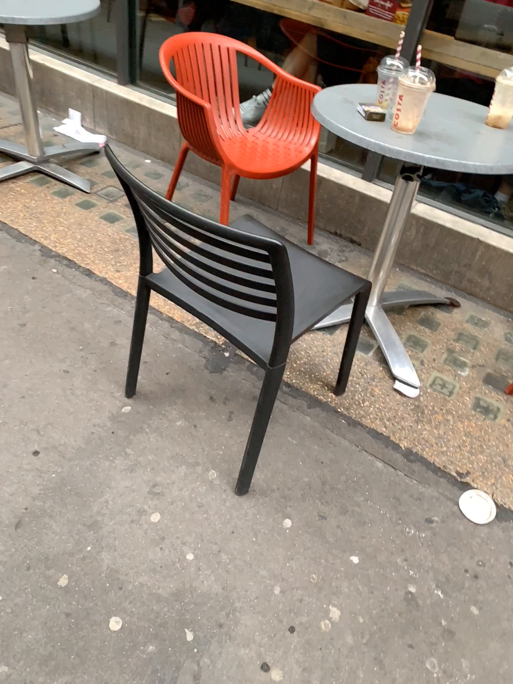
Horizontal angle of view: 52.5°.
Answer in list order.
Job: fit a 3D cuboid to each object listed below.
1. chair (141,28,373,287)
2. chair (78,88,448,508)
[{"bbox_3d":[-0.049,-0.779,2.138,0.573,0.742,0.643,-26,53,-35],"label":"chair"},{"bbox_3d":[-0.010,-0.141,1.361,0.552,0.752,0.604,32,45,23],"label":"chair"}]
